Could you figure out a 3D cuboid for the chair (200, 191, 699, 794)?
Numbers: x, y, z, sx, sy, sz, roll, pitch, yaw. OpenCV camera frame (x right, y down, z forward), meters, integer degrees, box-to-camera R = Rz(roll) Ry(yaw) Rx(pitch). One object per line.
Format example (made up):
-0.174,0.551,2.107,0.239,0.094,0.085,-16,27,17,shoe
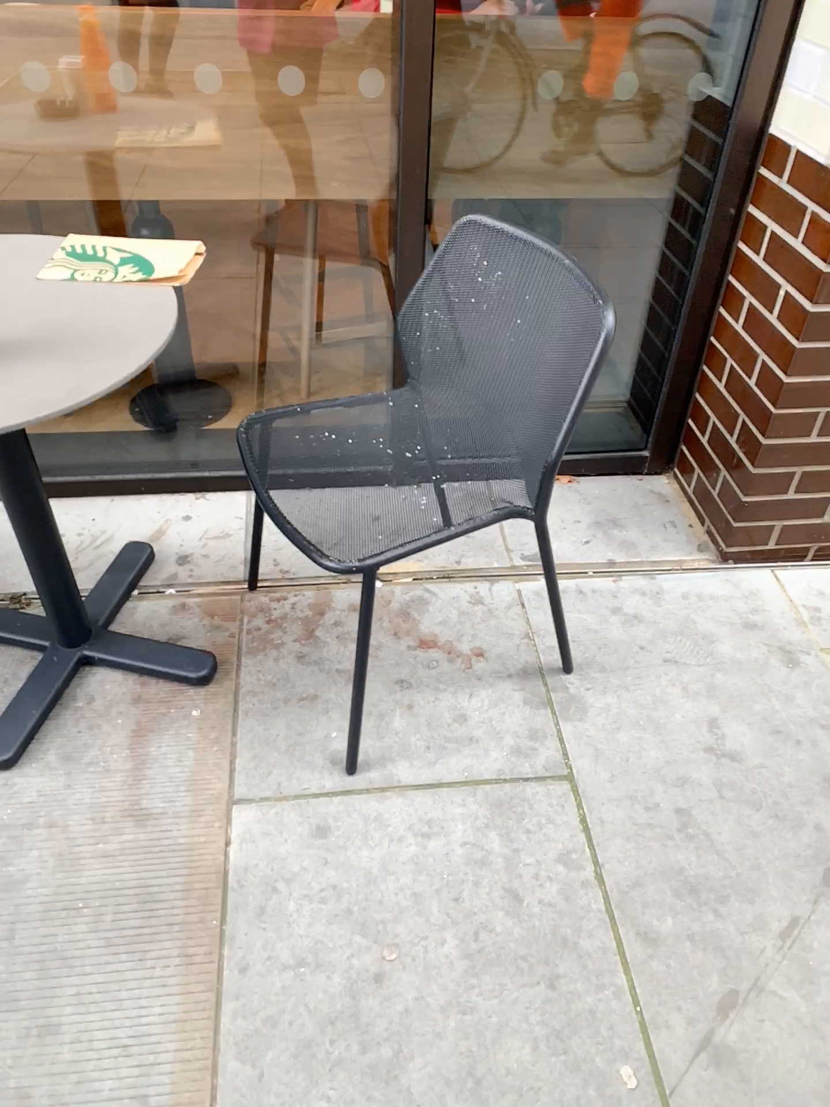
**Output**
0.008,-0.129,1.528,0.541,0.797,0.594,-17,44,-23,chair
